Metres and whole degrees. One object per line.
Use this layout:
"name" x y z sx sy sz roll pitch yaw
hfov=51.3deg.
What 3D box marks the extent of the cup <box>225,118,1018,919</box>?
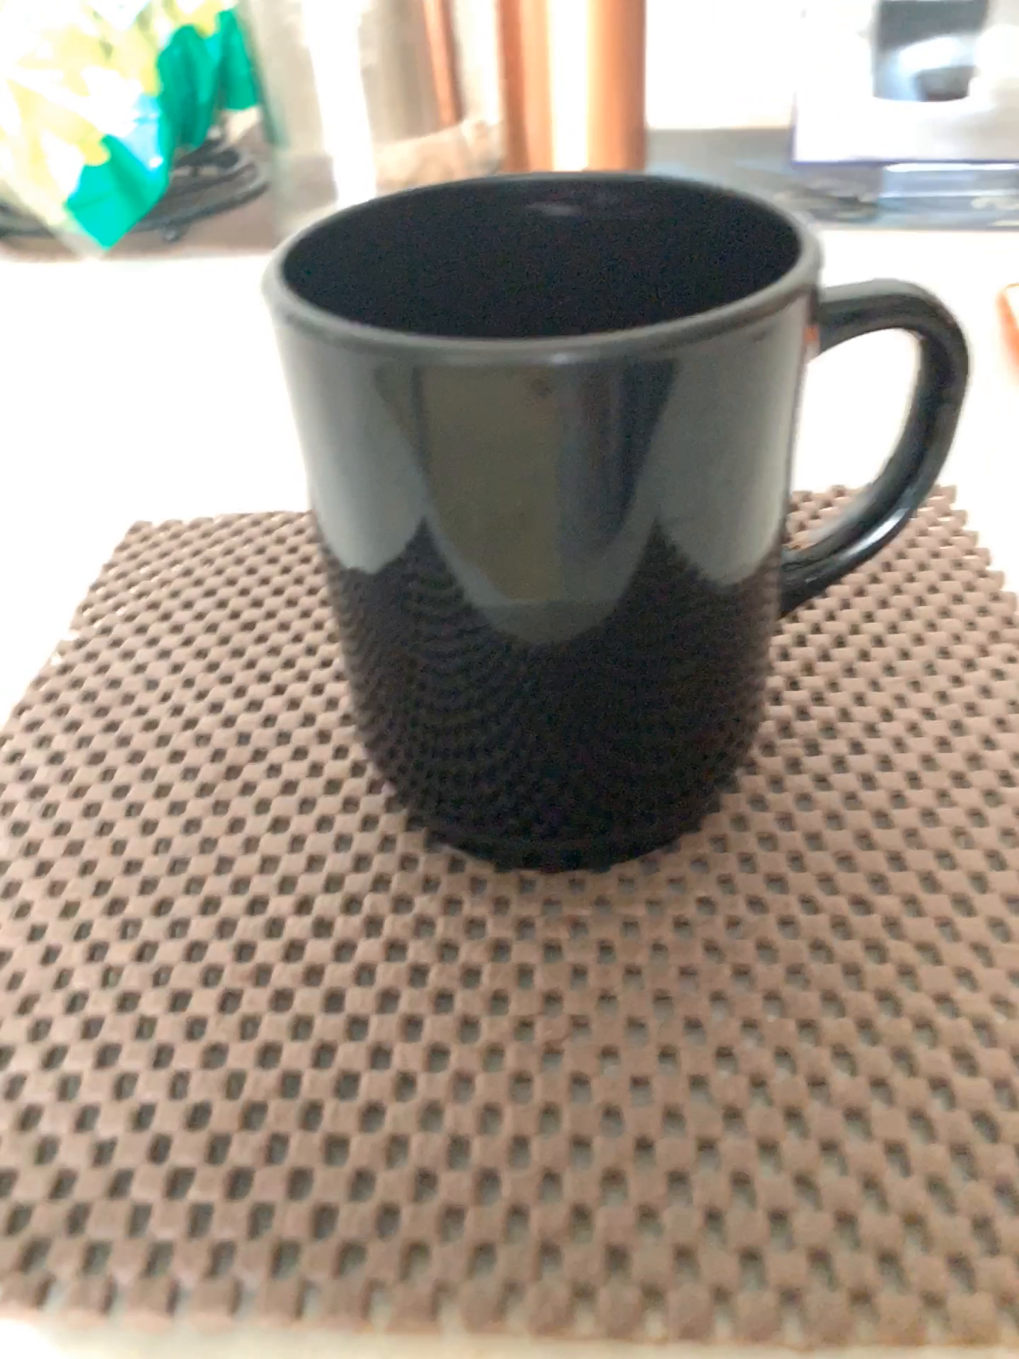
"cup" 0.018 -0.030 0.167 0.100 0.080 0.077 -13 40 -11
